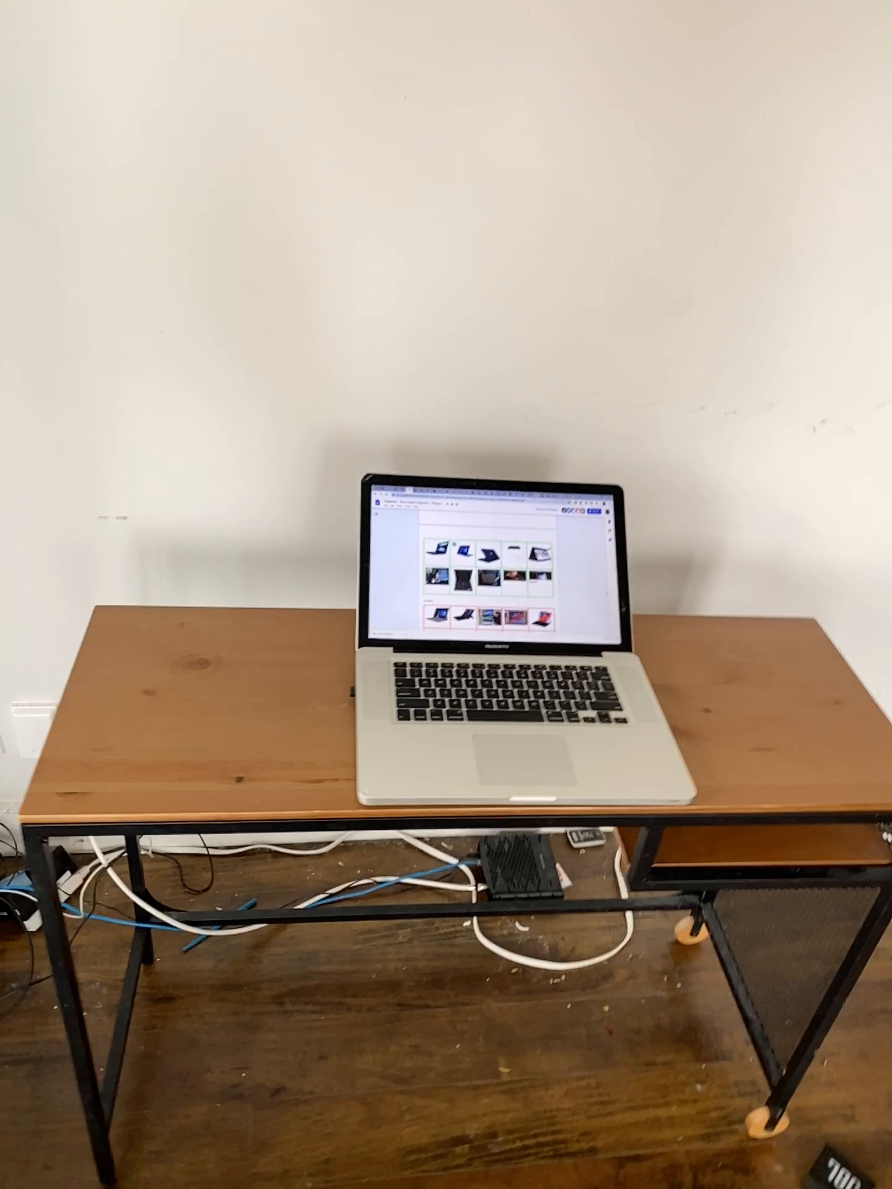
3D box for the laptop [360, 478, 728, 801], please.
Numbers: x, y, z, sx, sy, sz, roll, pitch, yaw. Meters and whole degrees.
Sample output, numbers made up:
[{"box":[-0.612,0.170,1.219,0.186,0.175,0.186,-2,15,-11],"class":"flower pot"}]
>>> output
[{"box":[0.079,0.033,1.107,0.359,0.155,0.438,1,34,-7],"class":"laptop"}]
